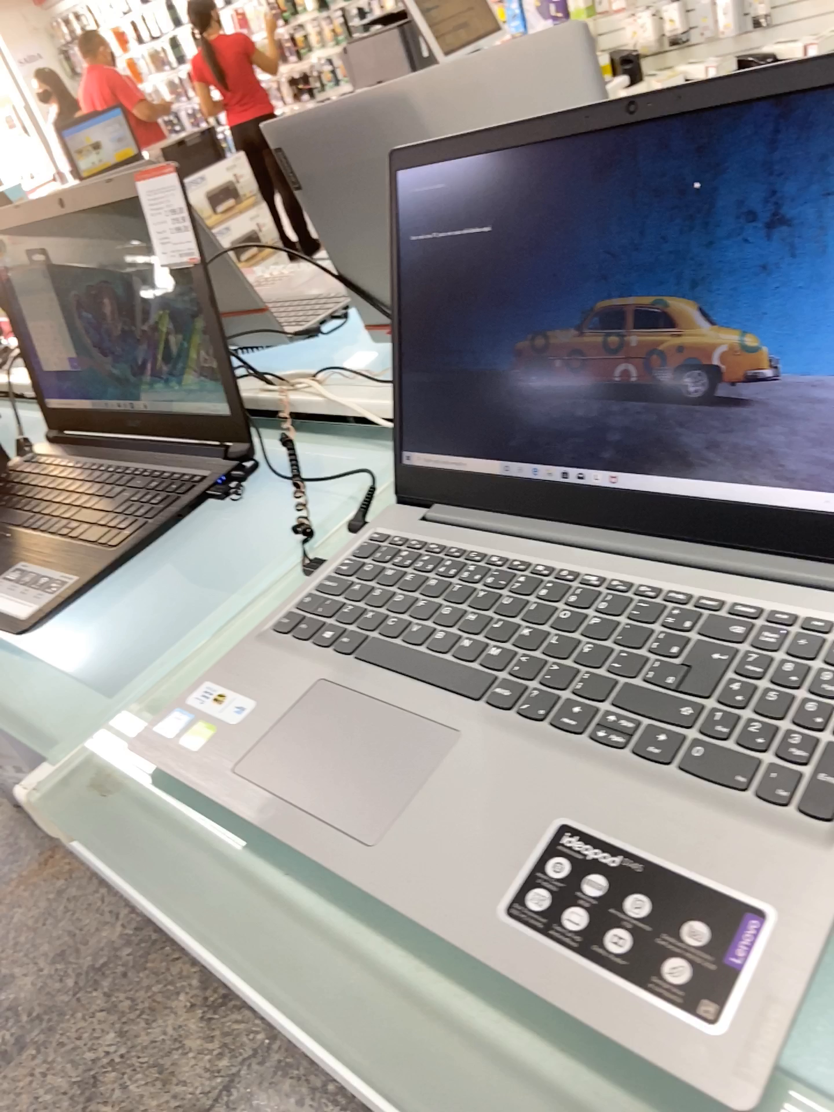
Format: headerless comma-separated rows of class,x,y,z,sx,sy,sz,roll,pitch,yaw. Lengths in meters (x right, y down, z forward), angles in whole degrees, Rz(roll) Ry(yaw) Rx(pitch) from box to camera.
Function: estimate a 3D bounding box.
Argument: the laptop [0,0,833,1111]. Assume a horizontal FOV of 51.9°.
laptop,0.040,-0.055,0.417,0.365,0.213,0.361,11,44,42
